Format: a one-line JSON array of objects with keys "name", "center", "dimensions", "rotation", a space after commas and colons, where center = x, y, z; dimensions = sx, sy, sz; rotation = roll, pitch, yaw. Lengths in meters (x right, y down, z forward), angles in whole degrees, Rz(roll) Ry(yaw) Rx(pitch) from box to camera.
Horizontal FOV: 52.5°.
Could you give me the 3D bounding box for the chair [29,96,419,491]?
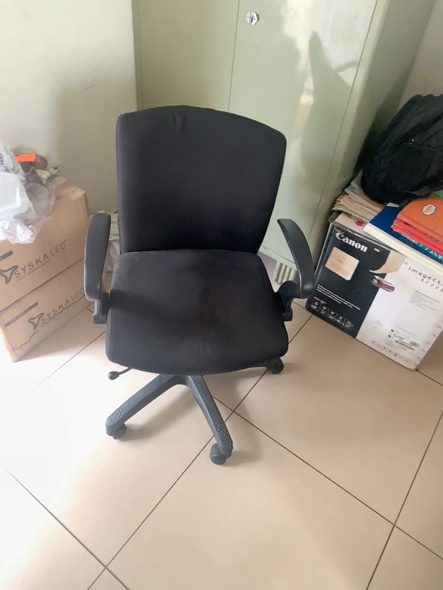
[{"name": "chair", "center": [-0.063, 0.020, 1.363], "dimensions": [0.700, 0.927, 0.702], "rotation": [-3, 47, -10]}]
